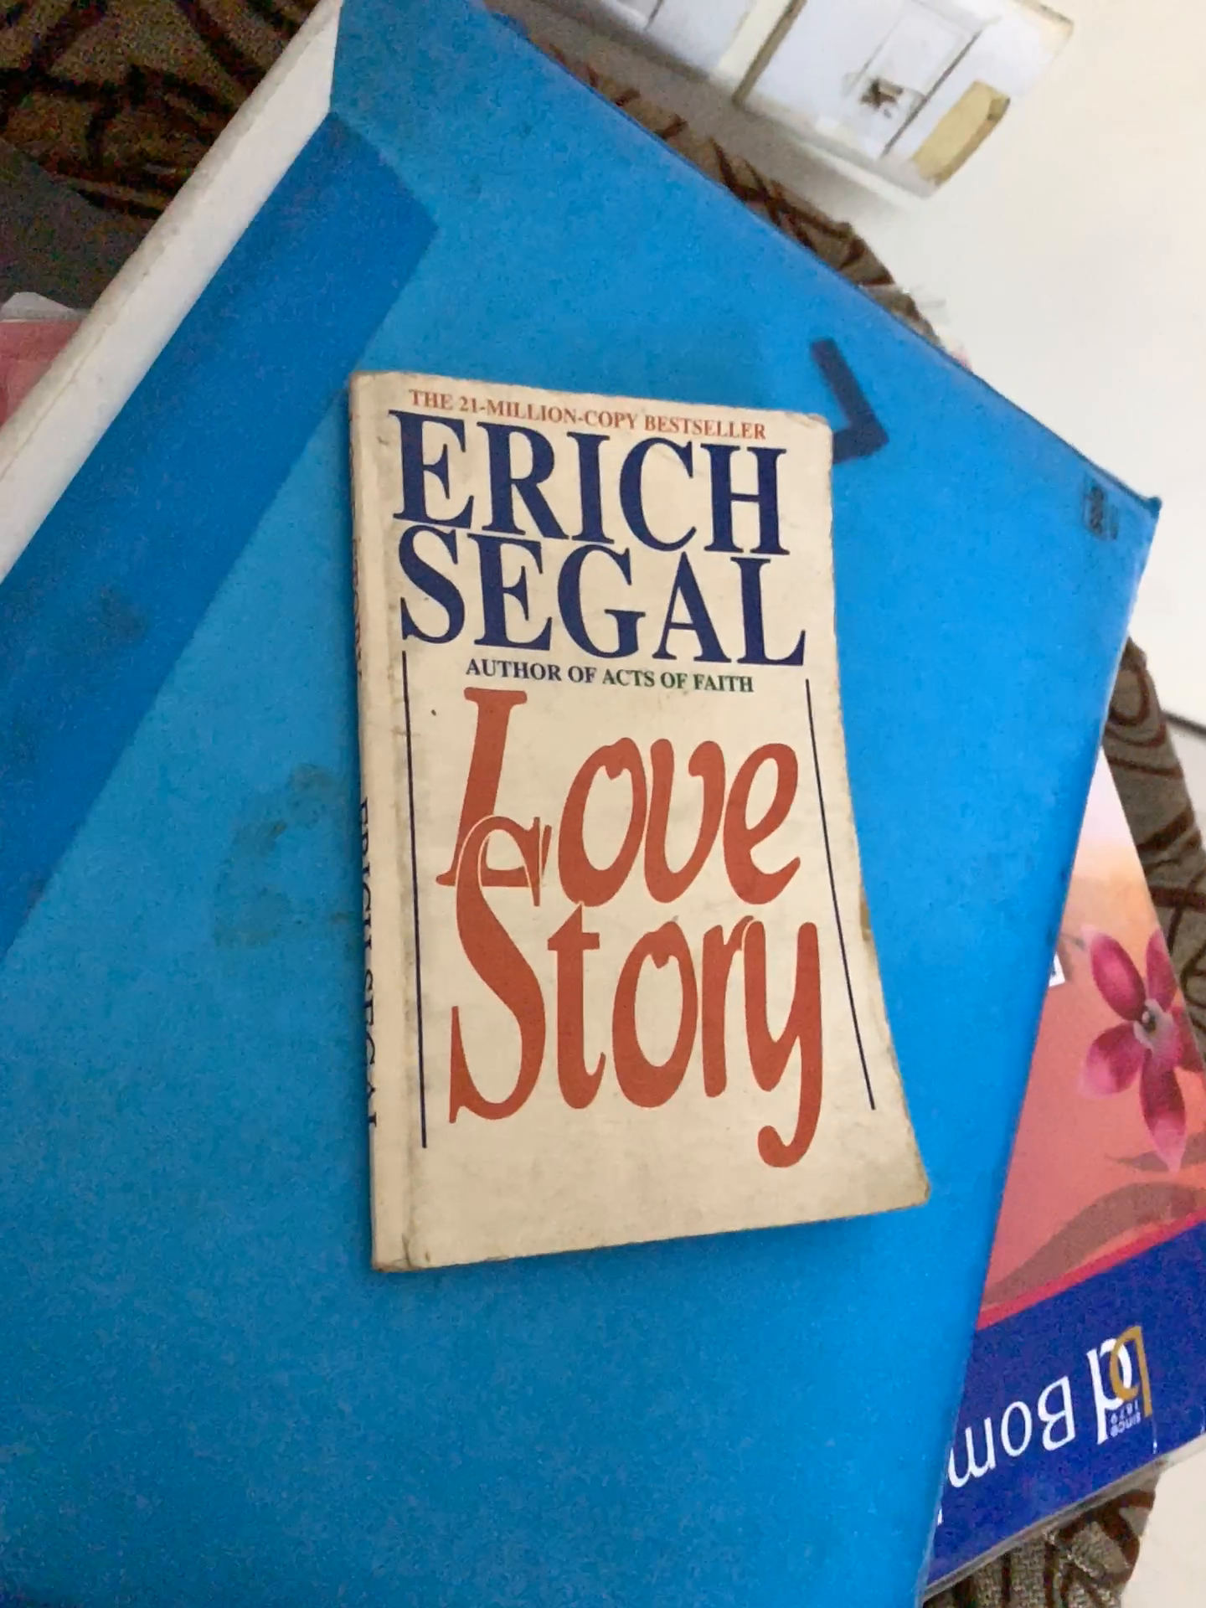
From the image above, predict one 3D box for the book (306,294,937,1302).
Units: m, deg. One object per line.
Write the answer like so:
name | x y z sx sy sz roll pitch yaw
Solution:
book | 0.001 -0.007 0.247 0.110 0.020 0.180 2 74 -24
